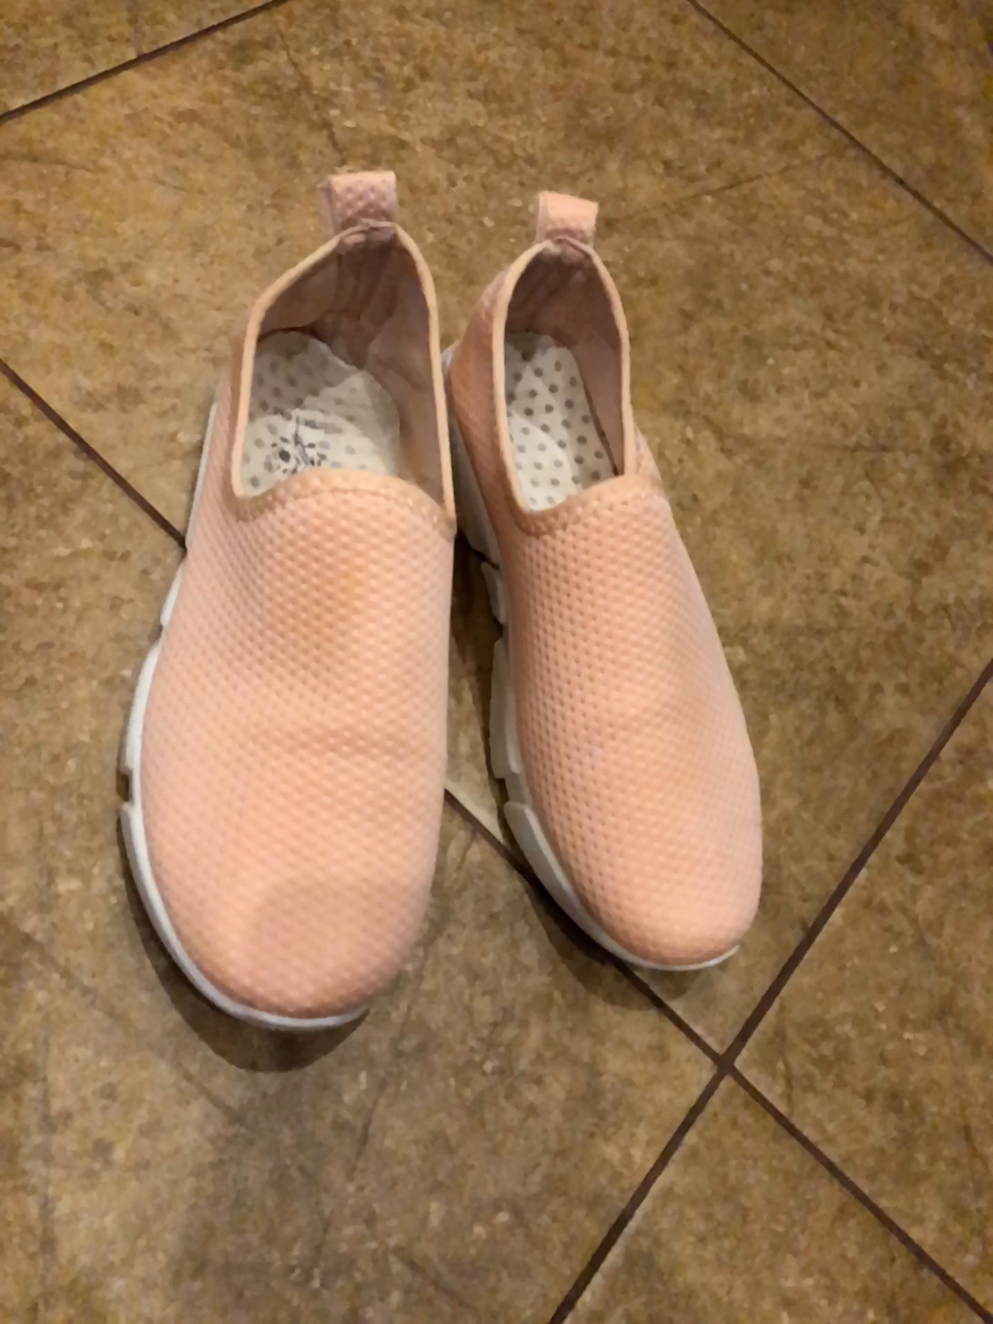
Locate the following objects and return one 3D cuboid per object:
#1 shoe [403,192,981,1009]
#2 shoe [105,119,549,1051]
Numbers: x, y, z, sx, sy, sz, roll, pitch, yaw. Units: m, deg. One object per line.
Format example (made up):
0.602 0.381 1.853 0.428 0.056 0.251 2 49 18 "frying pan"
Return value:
0.044 -0.022 0.351 0.090 0.100 0.231 -4 66 -20 "shoe"
-0.052 -0.018 0.326 0.090 0.120 0.241 6 63 -15 "shoe"
